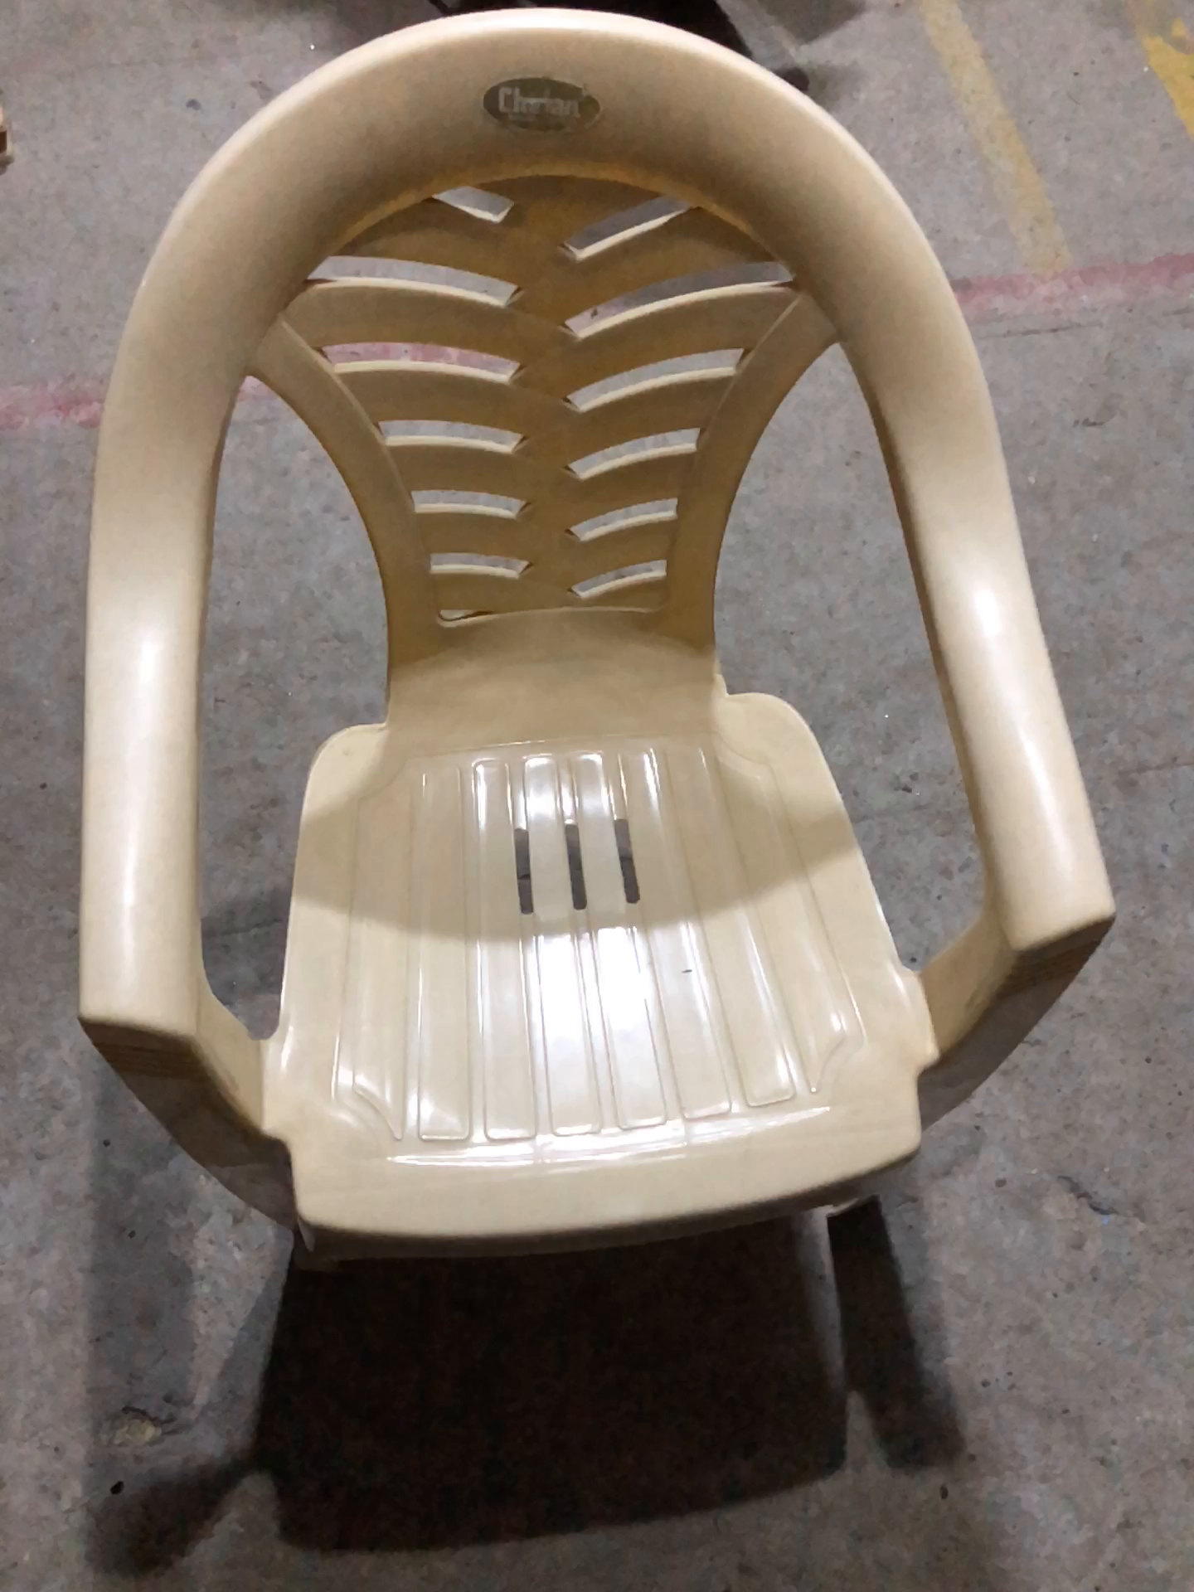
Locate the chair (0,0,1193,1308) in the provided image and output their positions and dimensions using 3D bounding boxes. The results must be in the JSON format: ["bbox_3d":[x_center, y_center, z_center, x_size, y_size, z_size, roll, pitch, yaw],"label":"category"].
[{"bbox_3d":[-0.002,0.007,0.873,0.560,0.867,0.562,-2,67,-5],"label":"chair"}]
